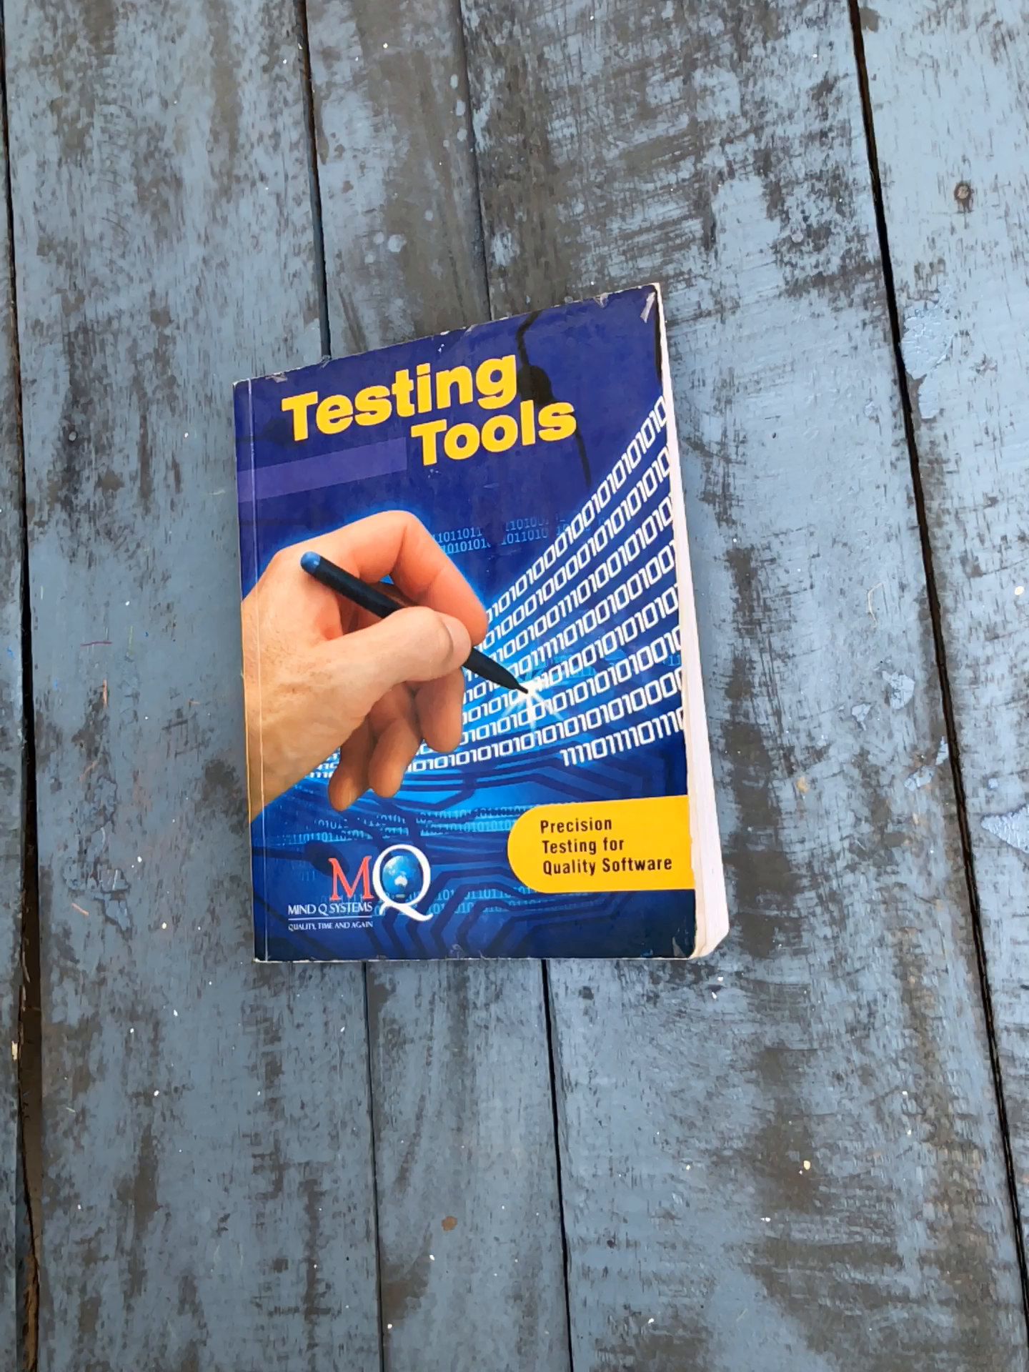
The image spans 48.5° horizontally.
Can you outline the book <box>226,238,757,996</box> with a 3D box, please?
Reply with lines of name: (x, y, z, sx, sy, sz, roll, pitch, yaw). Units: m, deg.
book: (-0.017, -0.017, 0.445, 0.190, 0.050, 0.260, -7, 80, 23)
